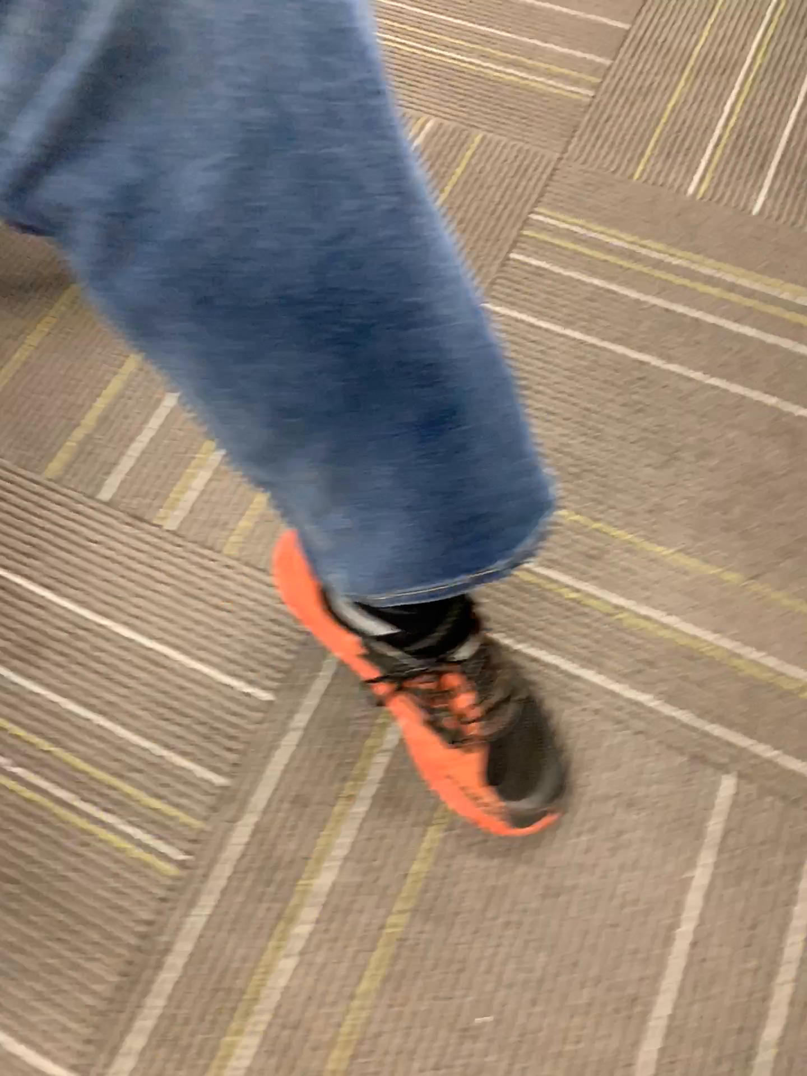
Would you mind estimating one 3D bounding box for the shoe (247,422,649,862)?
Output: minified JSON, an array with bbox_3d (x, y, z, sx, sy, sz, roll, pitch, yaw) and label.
[{"bbox_3d":[0.034,0.083,0.660,0.126,0.107,0.314,-40,96,-24],"label":"shoe"}]
